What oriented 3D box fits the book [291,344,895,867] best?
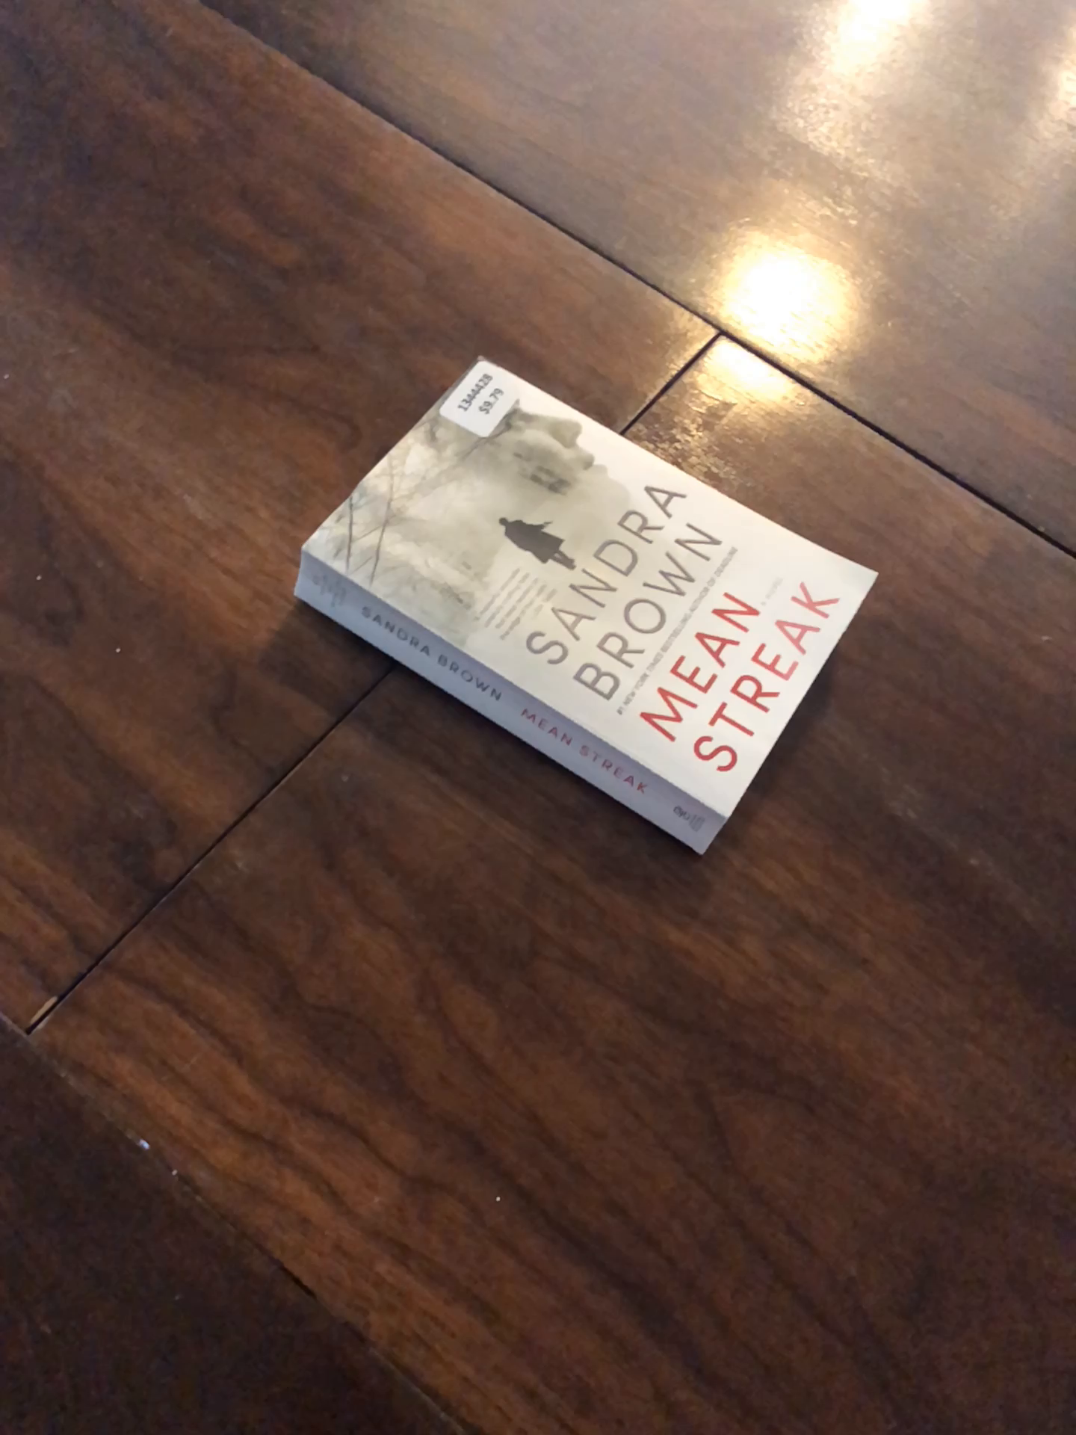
[{"bbox_3d":[0.024,-0.053,0.495,0.207,0.030,0.137,33,64,8],"label":"book"}]
